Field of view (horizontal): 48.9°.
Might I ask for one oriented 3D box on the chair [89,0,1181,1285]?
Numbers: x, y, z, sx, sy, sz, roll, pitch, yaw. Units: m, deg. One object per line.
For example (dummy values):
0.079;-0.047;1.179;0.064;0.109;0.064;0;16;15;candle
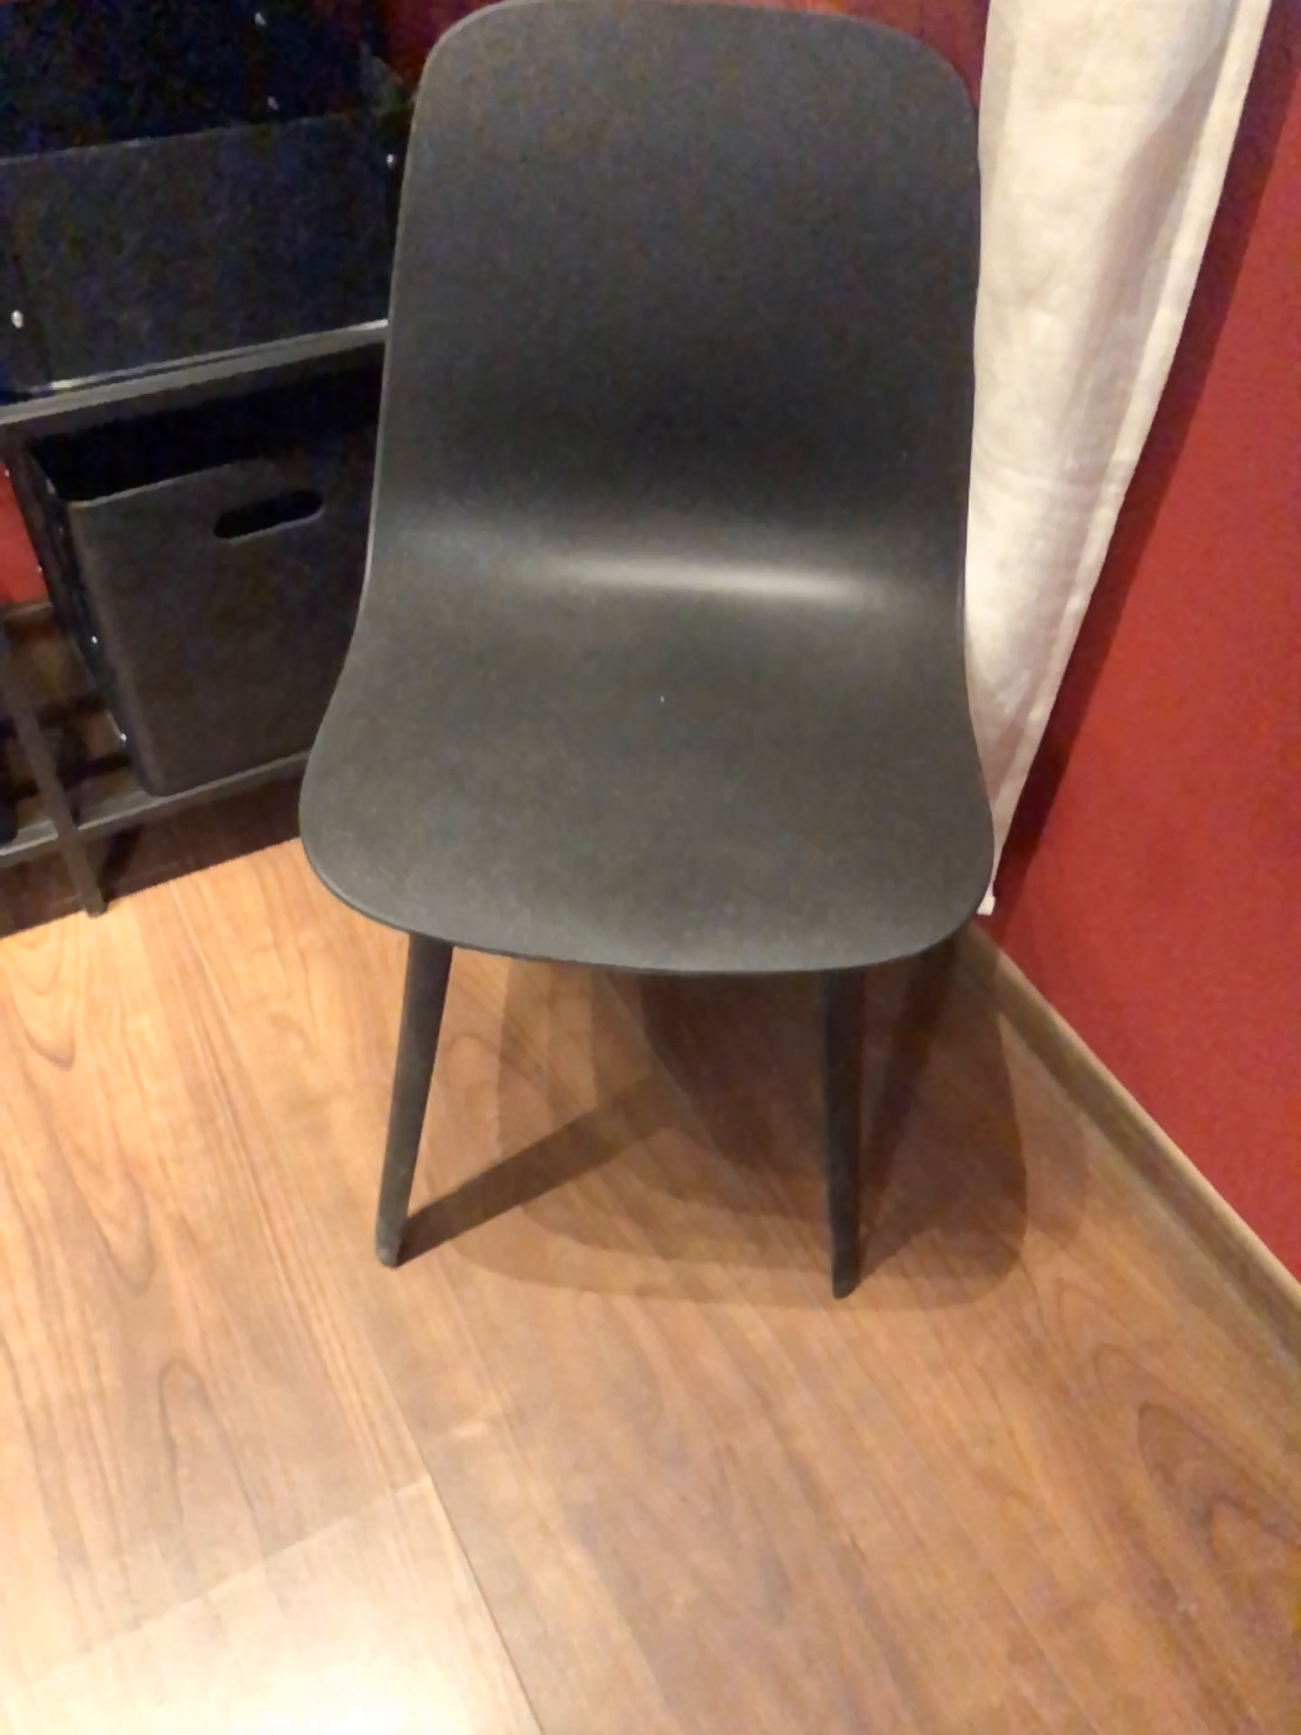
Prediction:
-0.013;-0.124;0.967;0.410;0.725;0.483;4;48;0;chair
